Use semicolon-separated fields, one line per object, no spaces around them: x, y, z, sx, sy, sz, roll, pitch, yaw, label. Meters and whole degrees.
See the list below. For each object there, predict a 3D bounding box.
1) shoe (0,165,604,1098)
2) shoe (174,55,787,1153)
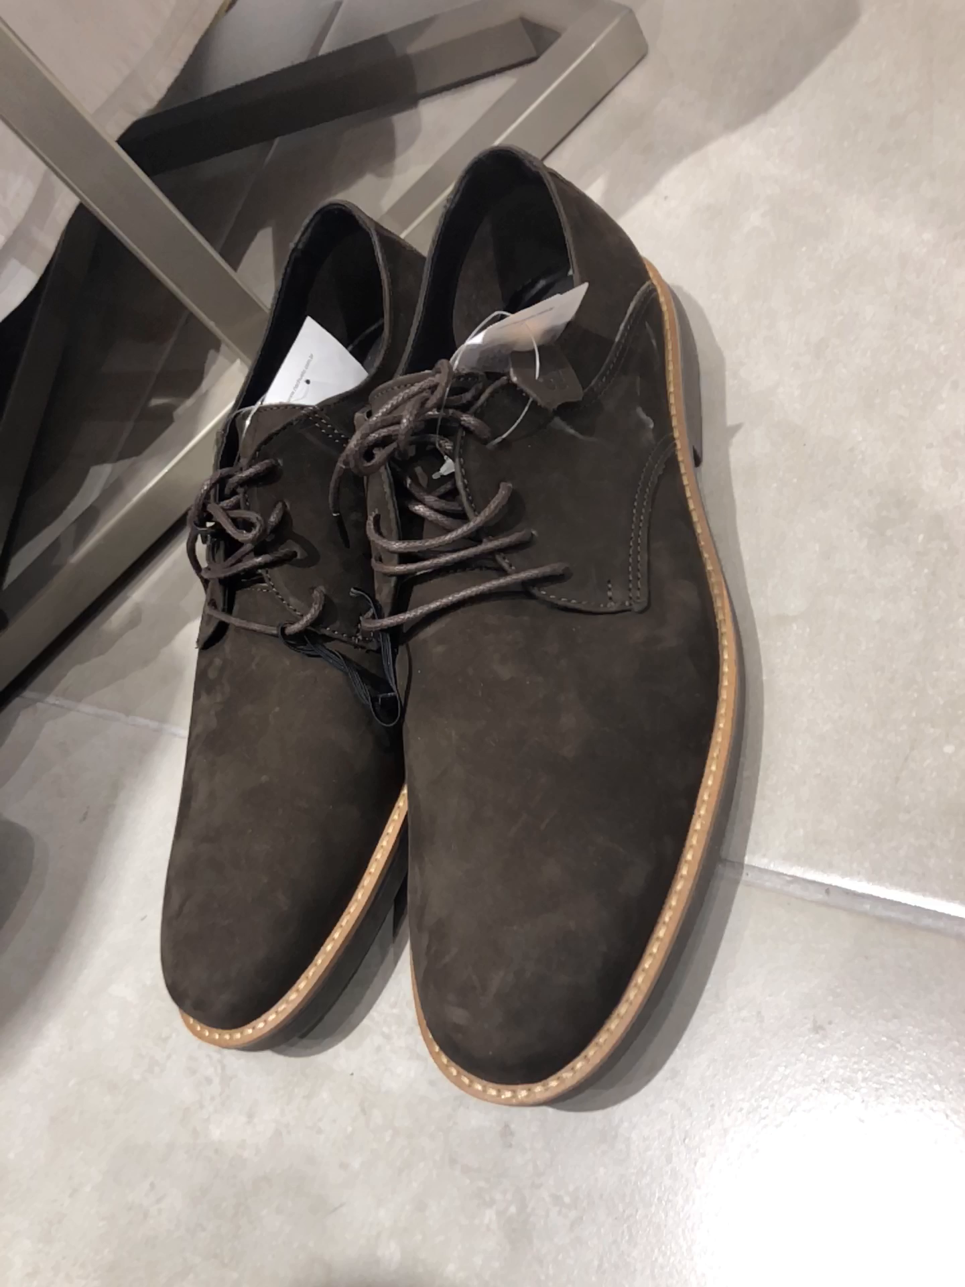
-0.052;-0.008;0.397;0.110;0.119;0.300;-2;64;31;shoe
0.018;-0.014;0.334;0.110;0.119;0.301;-10;60;28;shoe
